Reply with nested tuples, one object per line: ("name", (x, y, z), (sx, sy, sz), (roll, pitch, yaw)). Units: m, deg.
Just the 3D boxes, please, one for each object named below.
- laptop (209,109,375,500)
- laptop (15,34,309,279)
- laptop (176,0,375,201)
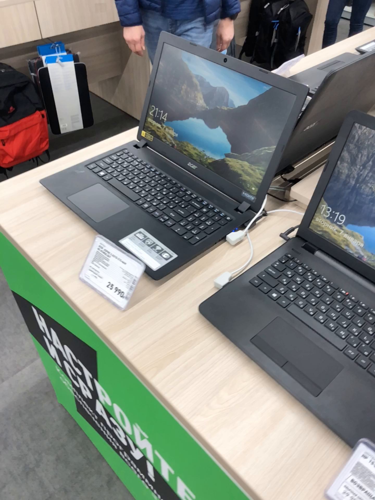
("laptop", (0.254, 0.038, 0.528), (0.295, 0.220, 0.359), (-33, 53, -28))
("laptop", (-0.051, -0.211, 0.785), (0.348, 0.219, 0.375), (-33, 53, -30))
("laptop", (0.251, -0.380, 0.936), (0.402, 0.250, 0.396), (-33, 52, -30))
